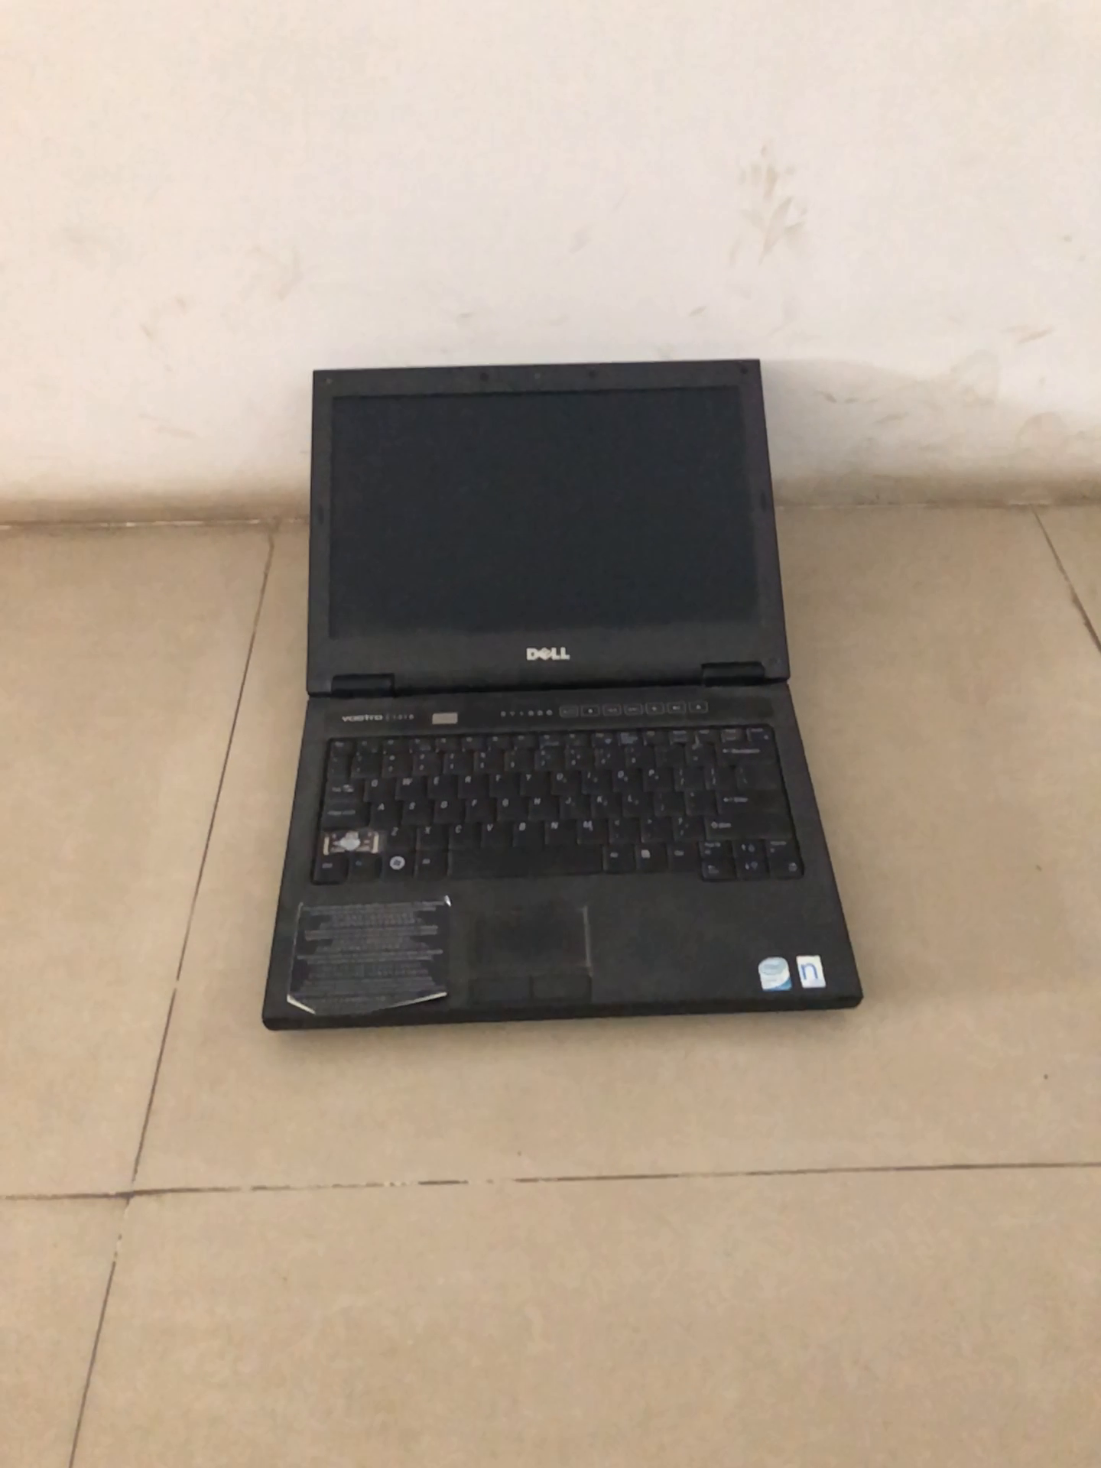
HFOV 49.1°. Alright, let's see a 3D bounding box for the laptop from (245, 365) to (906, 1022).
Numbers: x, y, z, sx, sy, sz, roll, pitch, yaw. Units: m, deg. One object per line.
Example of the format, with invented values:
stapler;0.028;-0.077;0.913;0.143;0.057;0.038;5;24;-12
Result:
laptop;0.005;-0.054;0.735;0.299;0.114;0.435;-3;46;0
